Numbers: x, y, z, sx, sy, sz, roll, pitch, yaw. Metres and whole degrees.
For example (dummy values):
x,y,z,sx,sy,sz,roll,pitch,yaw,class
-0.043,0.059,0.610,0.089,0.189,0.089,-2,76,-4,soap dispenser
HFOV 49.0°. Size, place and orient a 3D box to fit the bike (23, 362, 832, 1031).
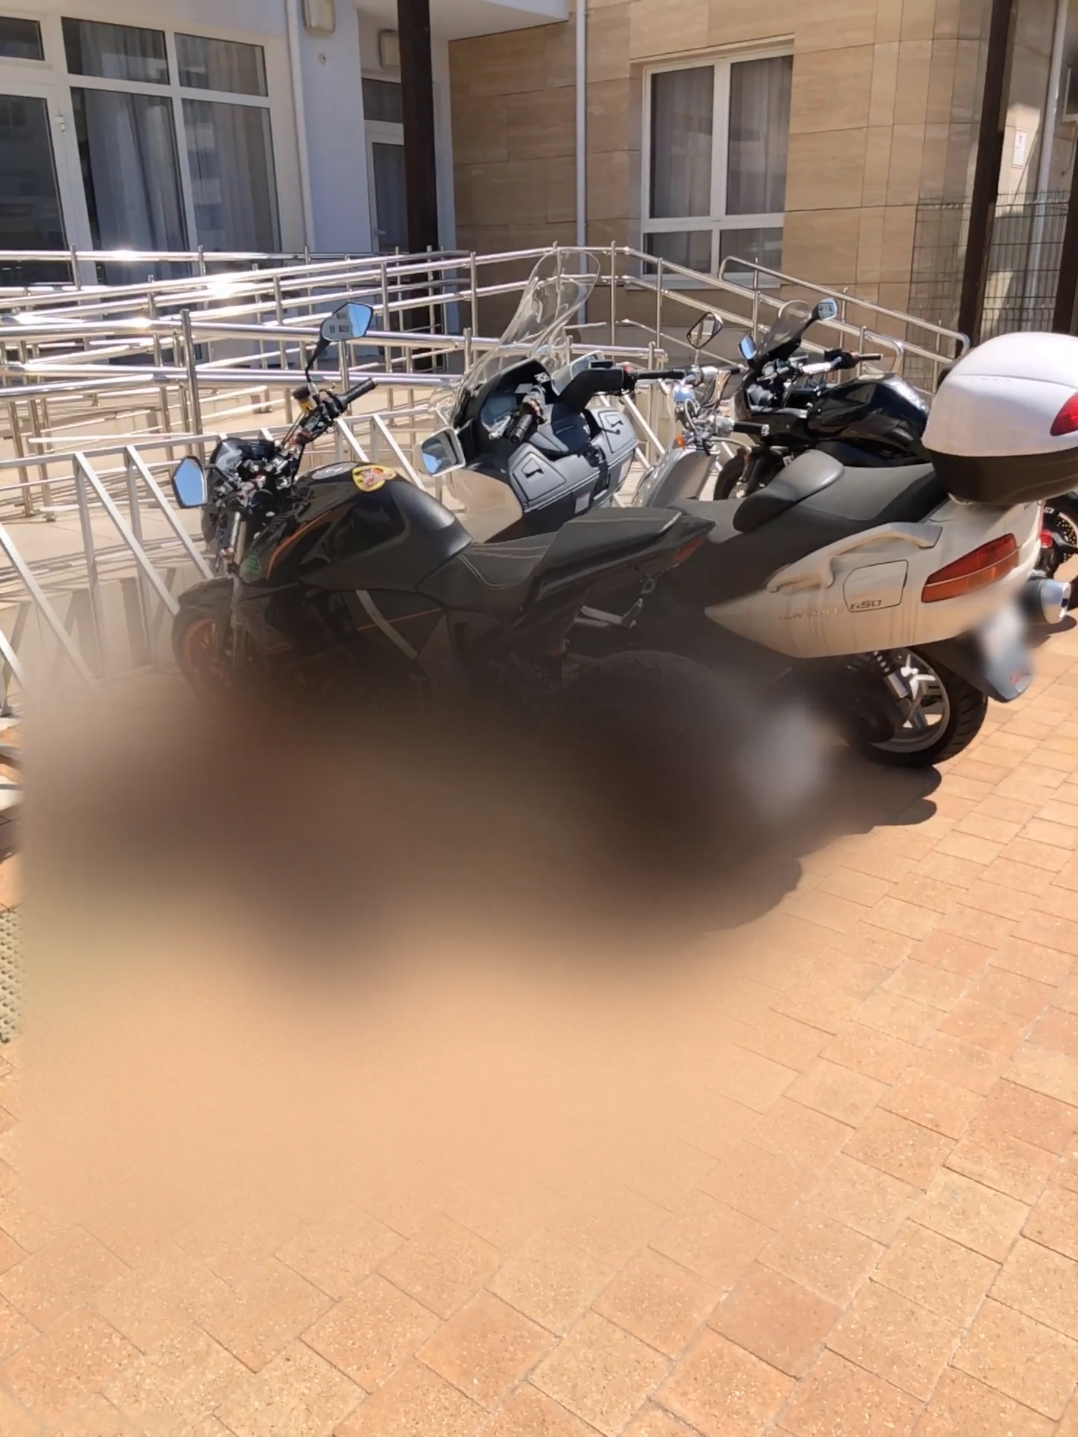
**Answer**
x,y,z,sx,sy,sz,roll,pitch,yaw,class
-0.342,-0.246,3.036,1.952,1.170,0.798,14,25,34,bike
